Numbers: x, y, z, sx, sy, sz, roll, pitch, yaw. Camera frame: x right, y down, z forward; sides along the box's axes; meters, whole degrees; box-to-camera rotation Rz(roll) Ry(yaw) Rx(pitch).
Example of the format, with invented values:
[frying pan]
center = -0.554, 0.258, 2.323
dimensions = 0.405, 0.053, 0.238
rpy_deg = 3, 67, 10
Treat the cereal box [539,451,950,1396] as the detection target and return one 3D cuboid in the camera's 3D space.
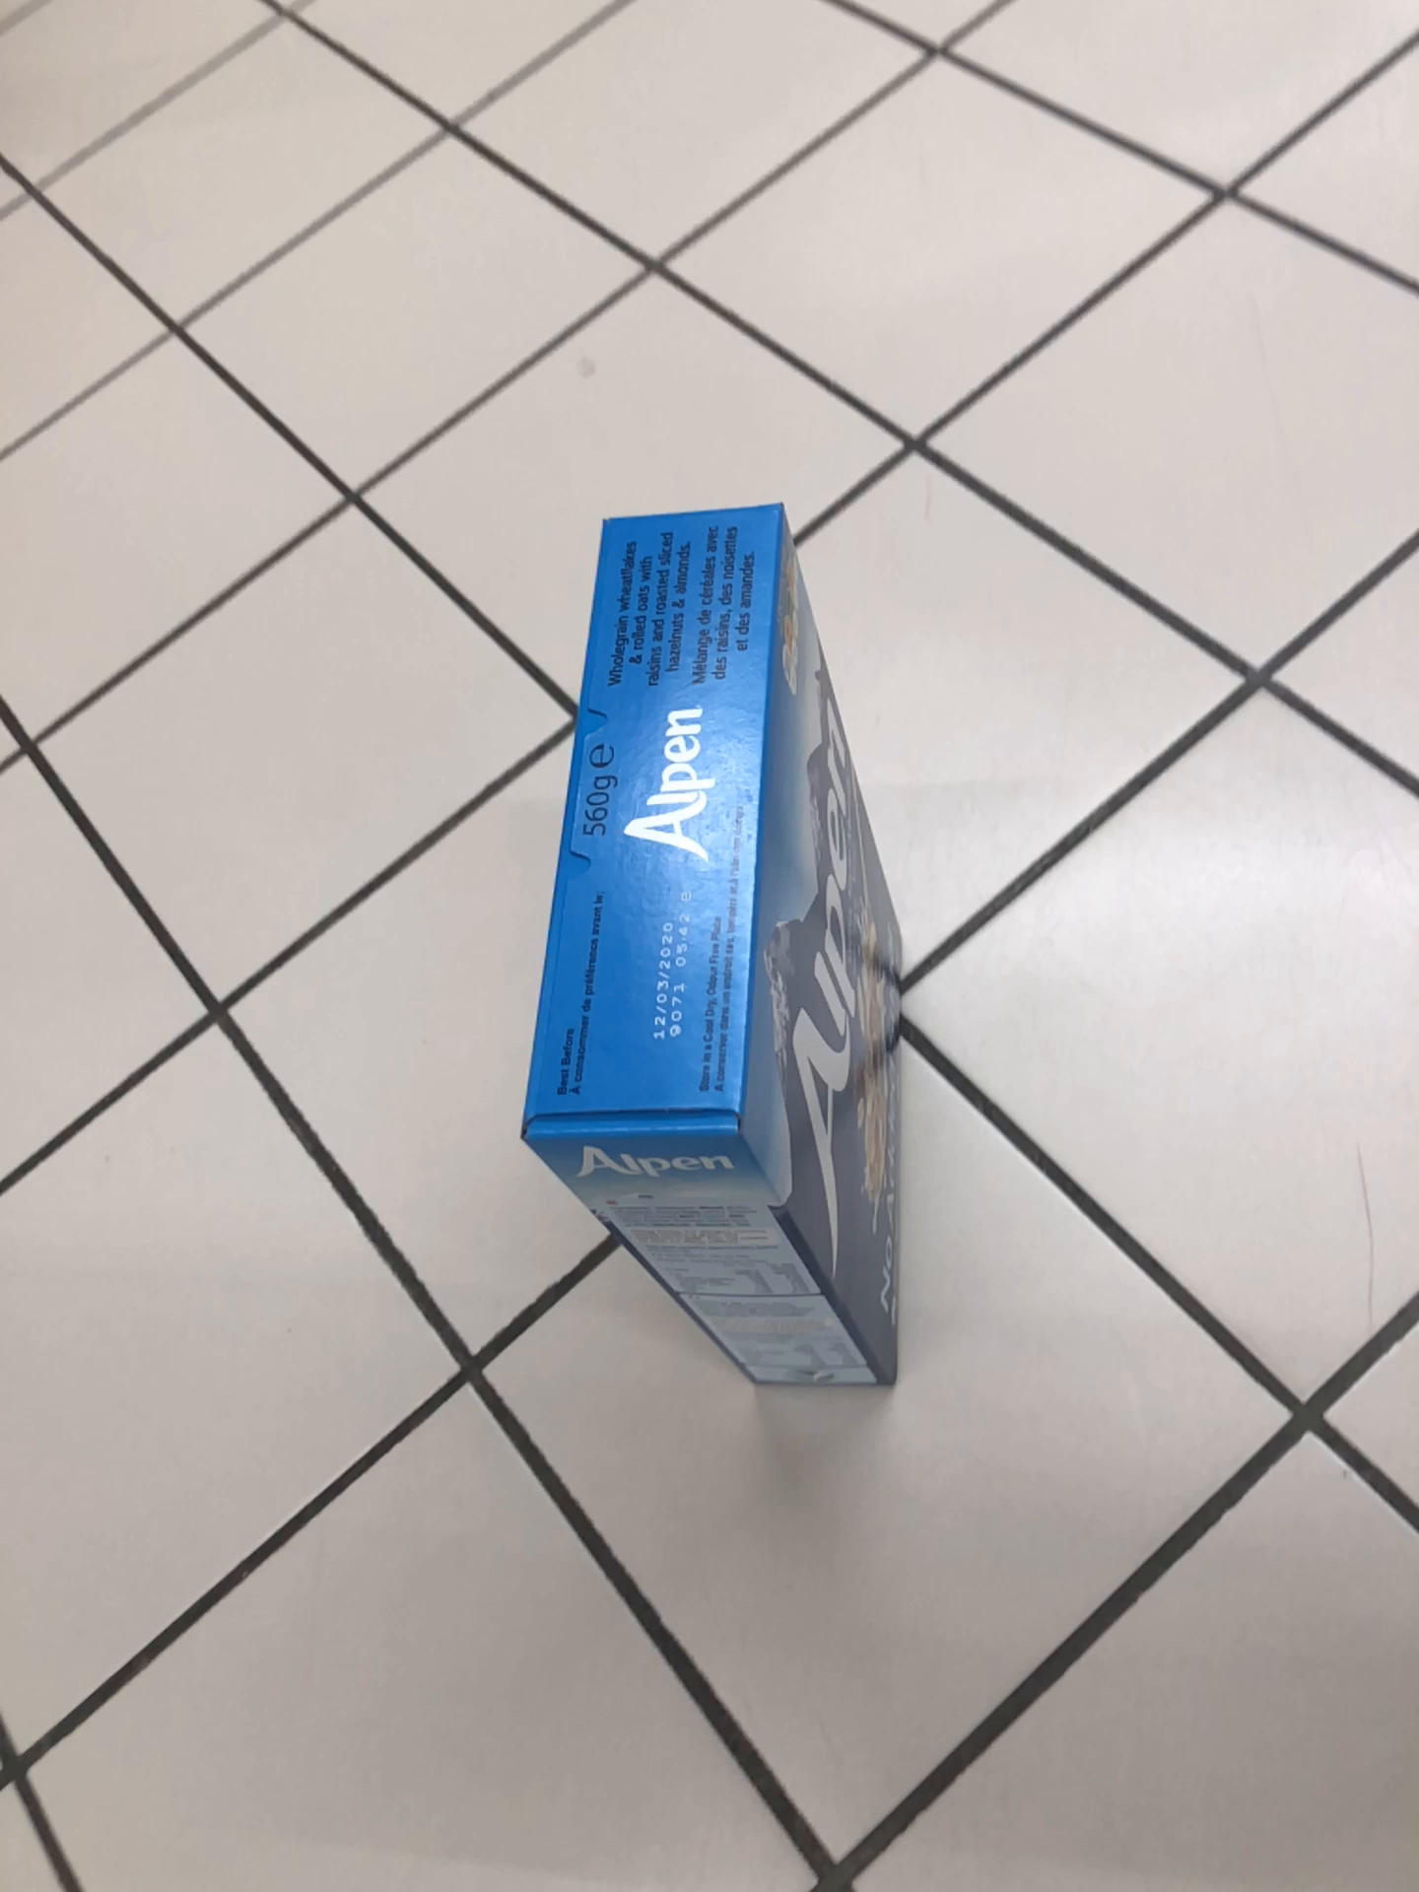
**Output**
[cereal box]
center = 0.027, 0.012, 0.449
dimensions = 0.060, 0.229, 0.181
rpy_deg = -3, 62, 13
